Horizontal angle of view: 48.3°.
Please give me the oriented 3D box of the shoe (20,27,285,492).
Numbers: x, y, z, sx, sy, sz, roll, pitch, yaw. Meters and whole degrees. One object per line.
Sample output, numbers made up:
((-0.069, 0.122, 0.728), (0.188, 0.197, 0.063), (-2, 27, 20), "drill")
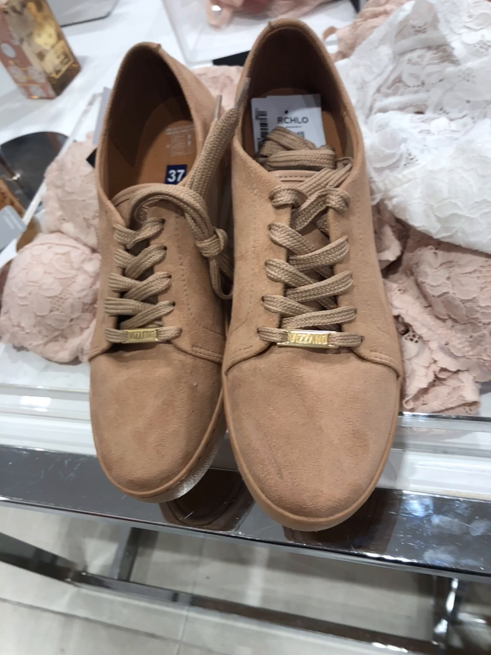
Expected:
((-0.039, -0.033, 0.322), (0.090, 0.100, 0.241), (0, 74, 17), "shoe")

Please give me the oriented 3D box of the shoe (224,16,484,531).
((0.038, -0.025, 0.279), (0.090, 0.100, 0.241), (0, 70, 0), "shoe")
